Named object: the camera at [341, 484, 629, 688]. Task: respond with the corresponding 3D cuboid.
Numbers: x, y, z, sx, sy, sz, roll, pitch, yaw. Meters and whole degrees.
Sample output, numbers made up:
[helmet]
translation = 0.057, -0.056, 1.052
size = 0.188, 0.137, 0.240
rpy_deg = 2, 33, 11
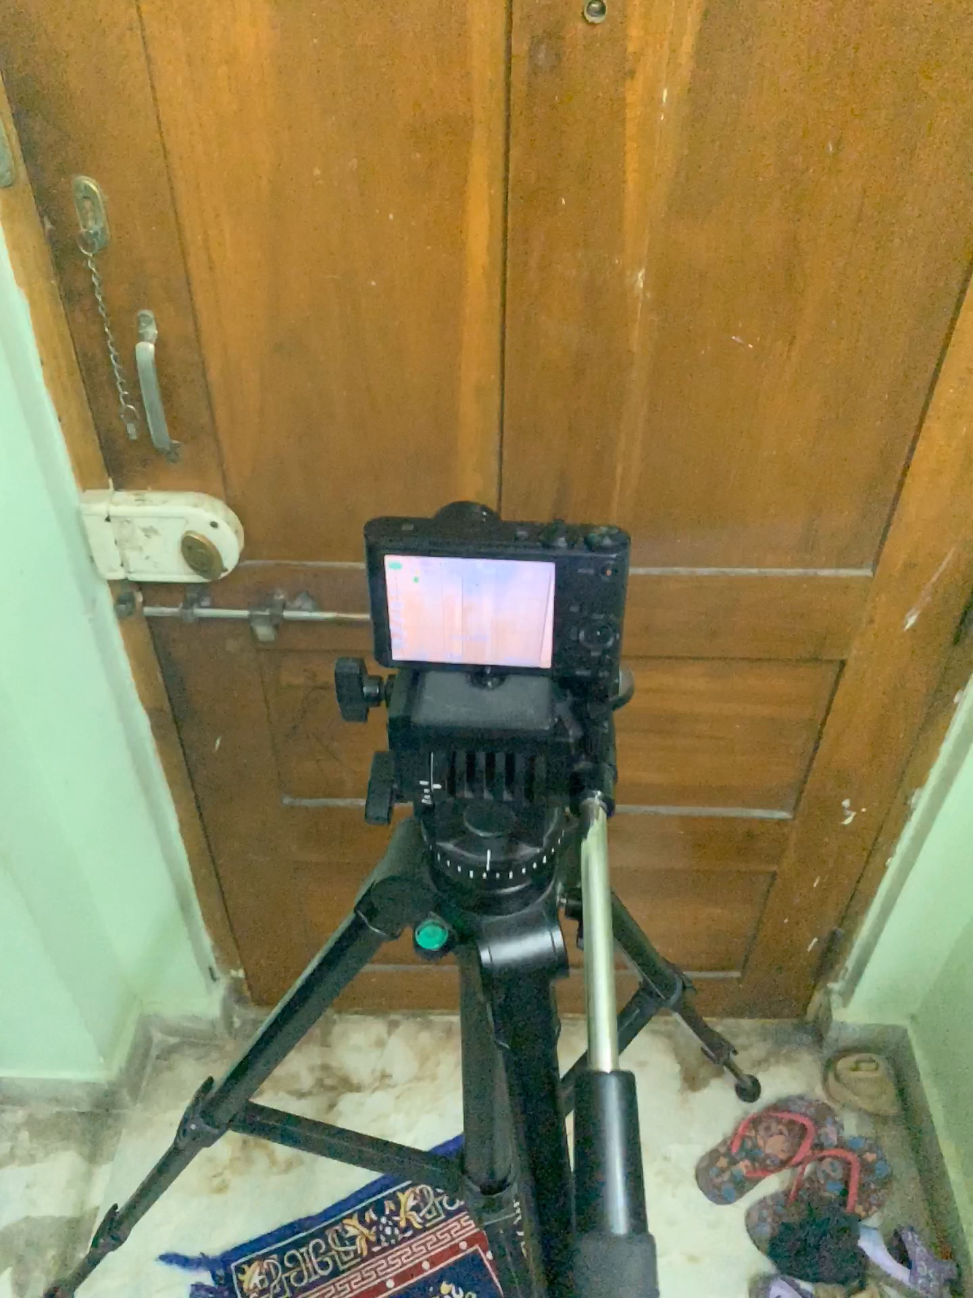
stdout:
[camera]
translation = 0.000, -0.024, 0.378
size = 0.100, 0.060, 0.040
rpy_deg = 3, 34, 3
